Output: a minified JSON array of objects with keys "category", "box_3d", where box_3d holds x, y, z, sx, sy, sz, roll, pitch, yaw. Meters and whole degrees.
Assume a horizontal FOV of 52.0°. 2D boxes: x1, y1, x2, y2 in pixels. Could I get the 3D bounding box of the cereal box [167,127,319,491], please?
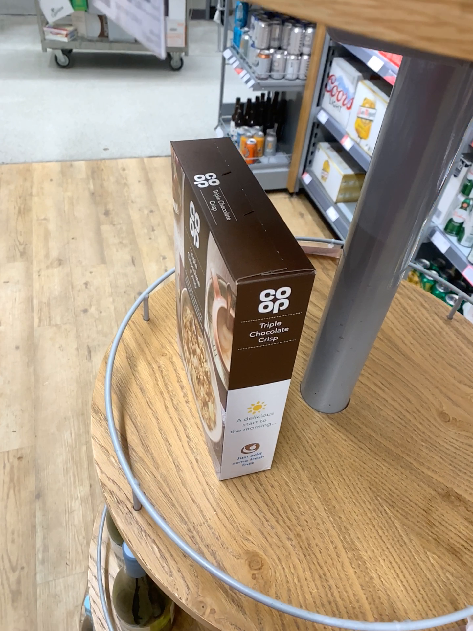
[{"category":"cereal box","box_3d":[-0.013,0.001,0.420,0.050,0.248,0.192,-9,47,-14]}]
